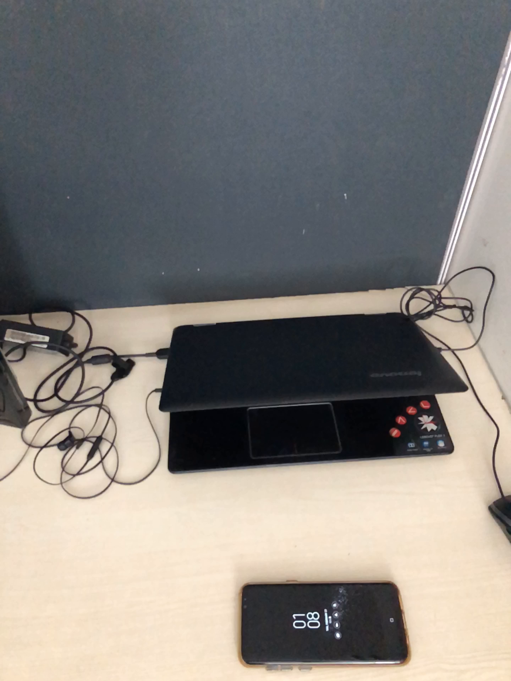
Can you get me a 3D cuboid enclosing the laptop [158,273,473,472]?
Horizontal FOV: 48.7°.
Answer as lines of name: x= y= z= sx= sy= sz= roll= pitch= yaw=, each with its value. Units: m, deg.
laptop: x=0.056 y=0.029 z=0.686 sx=0.326 sy=0.082 sz=0.221 roll=-4 pitch=45 yaw=-2
